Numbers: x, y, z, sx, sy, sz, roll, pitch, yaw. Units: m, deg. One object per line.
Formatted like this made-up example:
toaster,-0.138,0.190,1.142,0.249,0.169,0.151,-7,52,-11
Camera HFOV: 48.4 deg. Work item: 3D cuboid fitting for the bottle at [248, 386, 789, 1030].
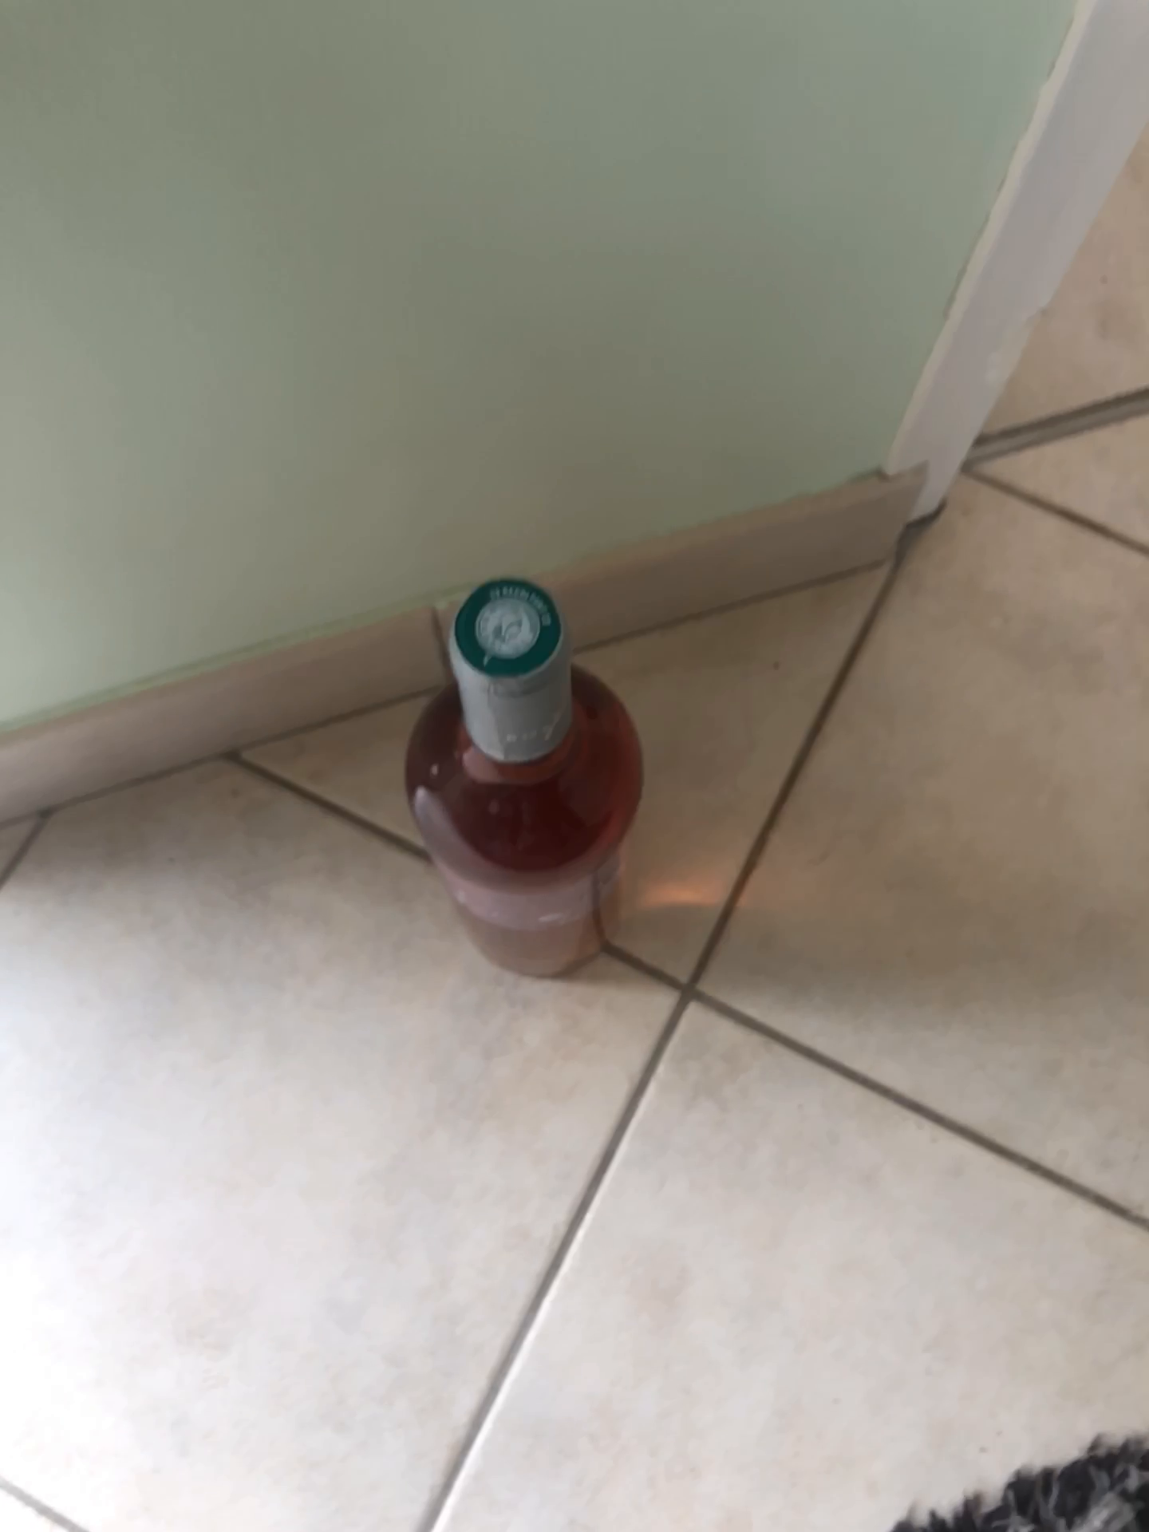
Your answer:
bottle,-0.012,0.011,0.427,0.090,0.289,0.090,0,72,0
